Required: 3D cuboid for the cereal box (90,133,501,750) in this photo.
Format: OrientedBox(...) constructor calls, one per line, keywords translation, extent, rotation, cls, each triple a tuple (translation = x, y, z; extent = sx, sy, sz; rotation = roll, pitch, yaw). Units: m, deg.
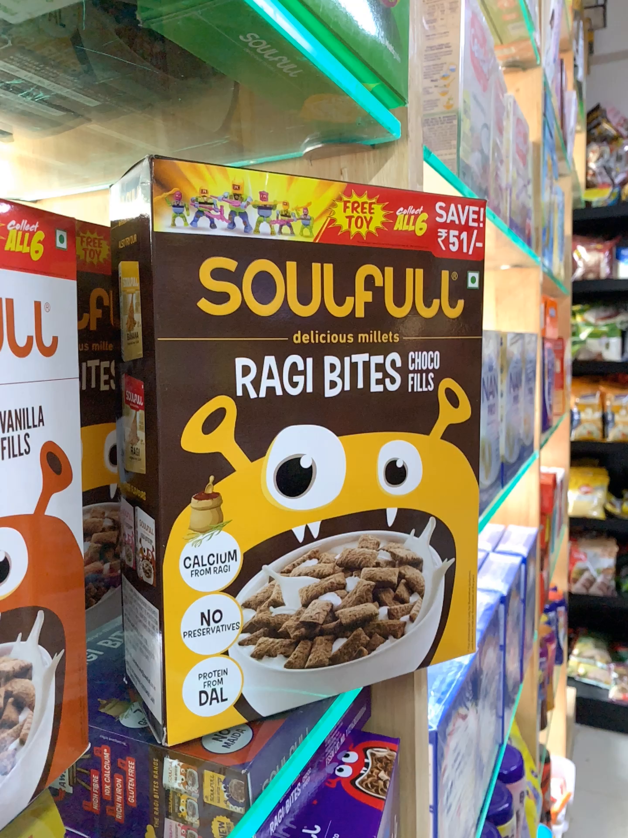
OrientedBox(translation=(-0.002, 0.005, 0.323), extent=(0.190, 0.239, 0.060), rotation=(-4, 7, -29), cls="cereal box")
